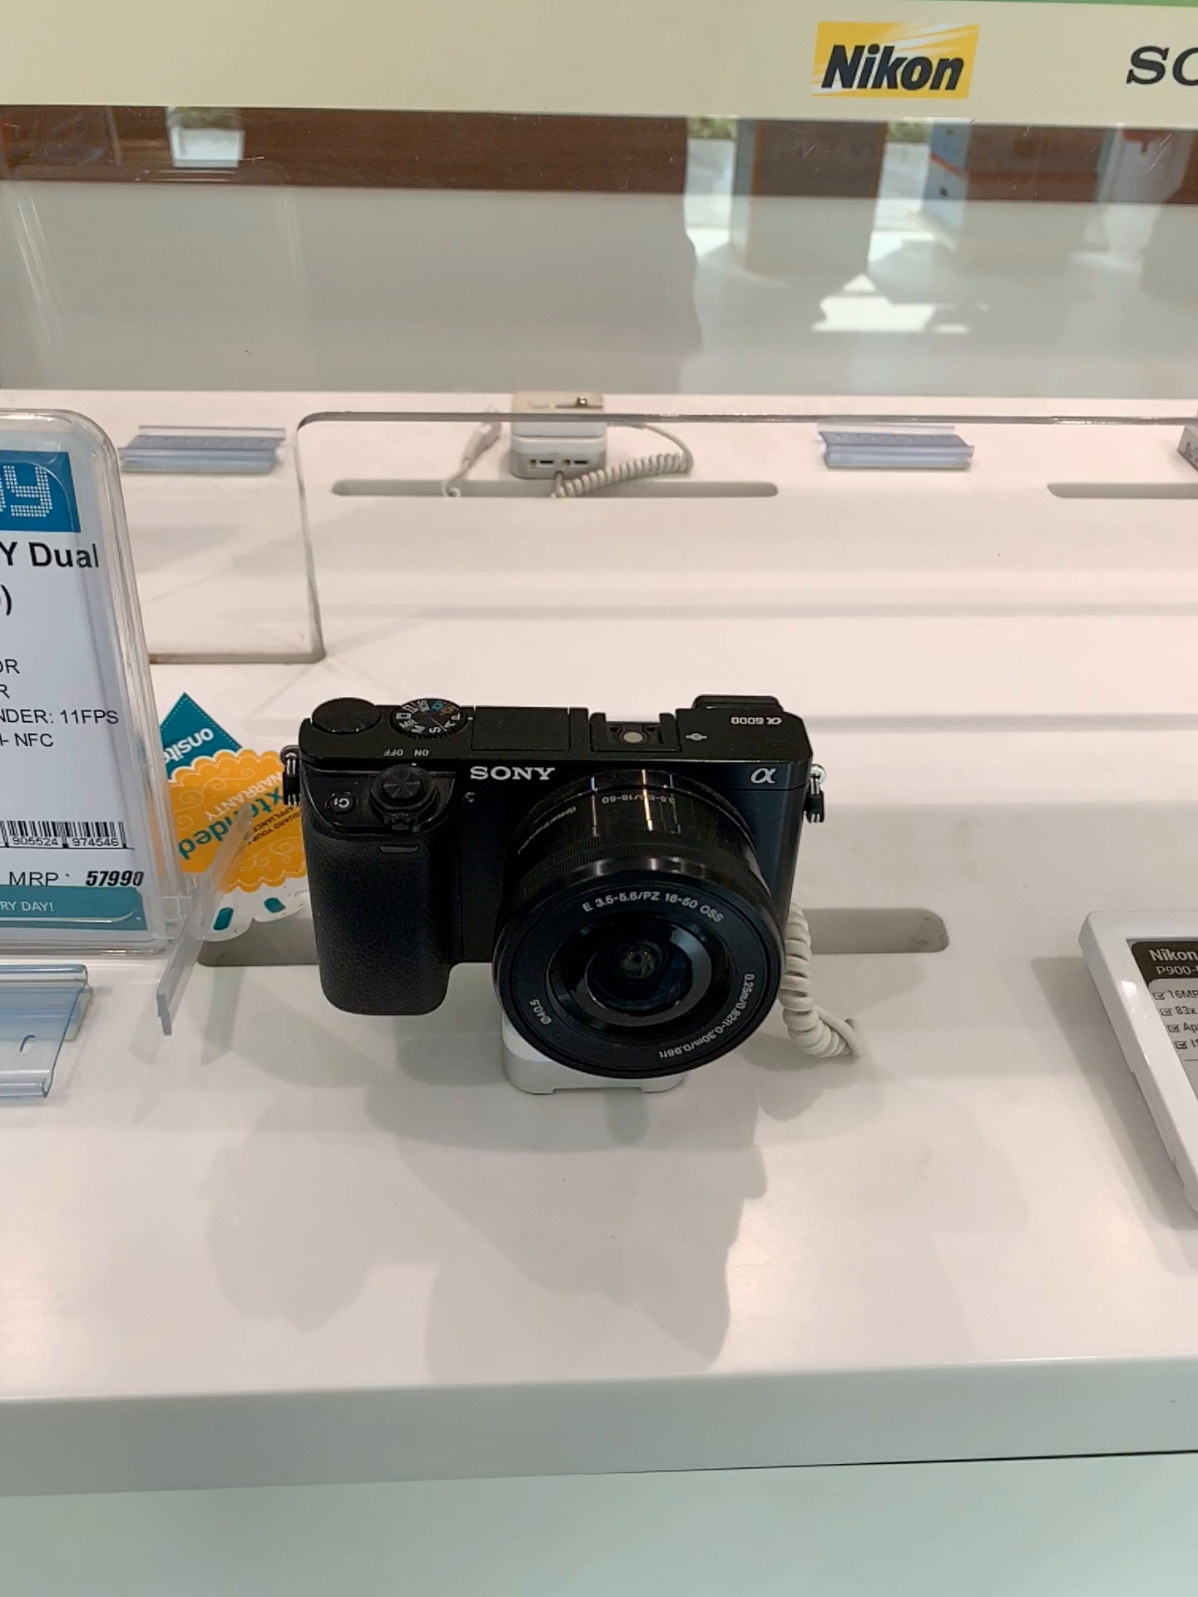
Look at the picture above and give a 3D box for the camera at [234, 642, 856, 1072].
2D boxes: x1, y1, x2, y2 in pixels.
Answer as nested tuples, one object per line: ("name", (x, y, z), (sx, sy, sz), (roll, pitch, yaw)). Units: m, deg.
("camera", (-0.010, 0.011, 0.249), (0.104, 0.063, 0.059), (0, 38, -3))
